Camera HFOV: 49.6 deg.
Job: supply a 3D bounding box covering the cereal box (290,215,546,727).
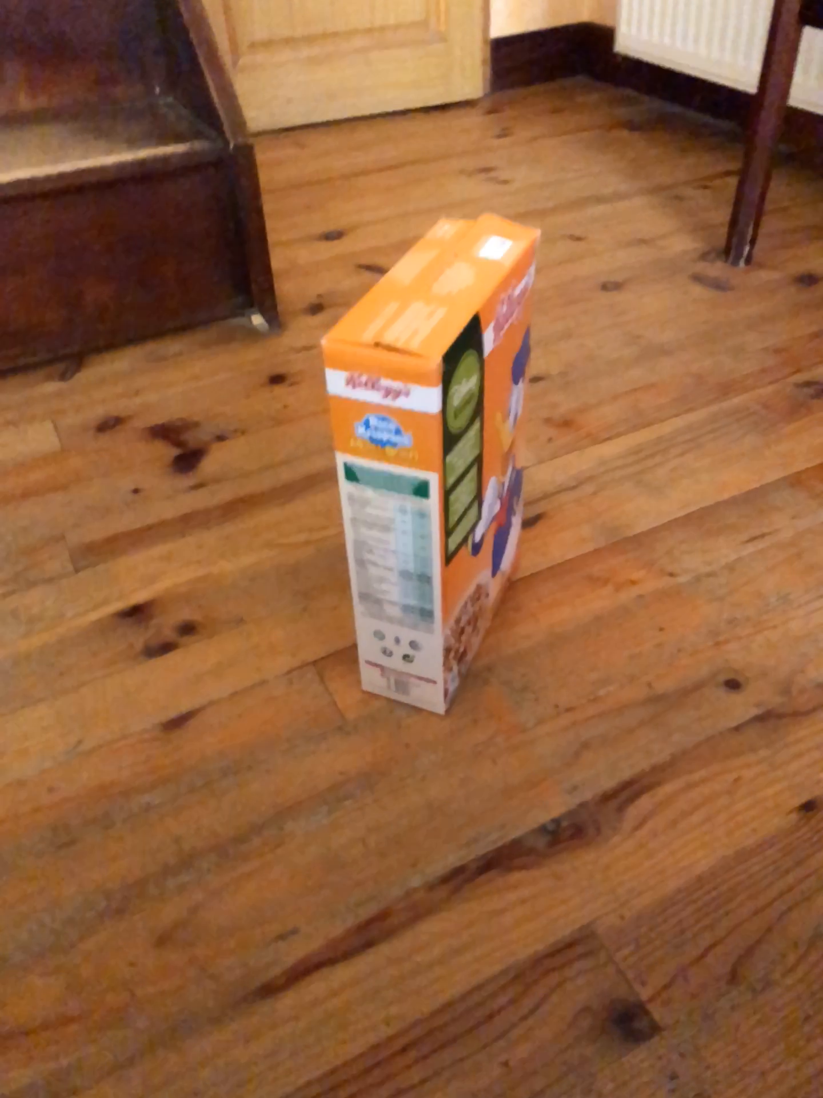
[{"bbox_3d":[0.018,-0.054,0.648,0.090,0.298,0.201,13,42,19],"label":"cereal box"}]
